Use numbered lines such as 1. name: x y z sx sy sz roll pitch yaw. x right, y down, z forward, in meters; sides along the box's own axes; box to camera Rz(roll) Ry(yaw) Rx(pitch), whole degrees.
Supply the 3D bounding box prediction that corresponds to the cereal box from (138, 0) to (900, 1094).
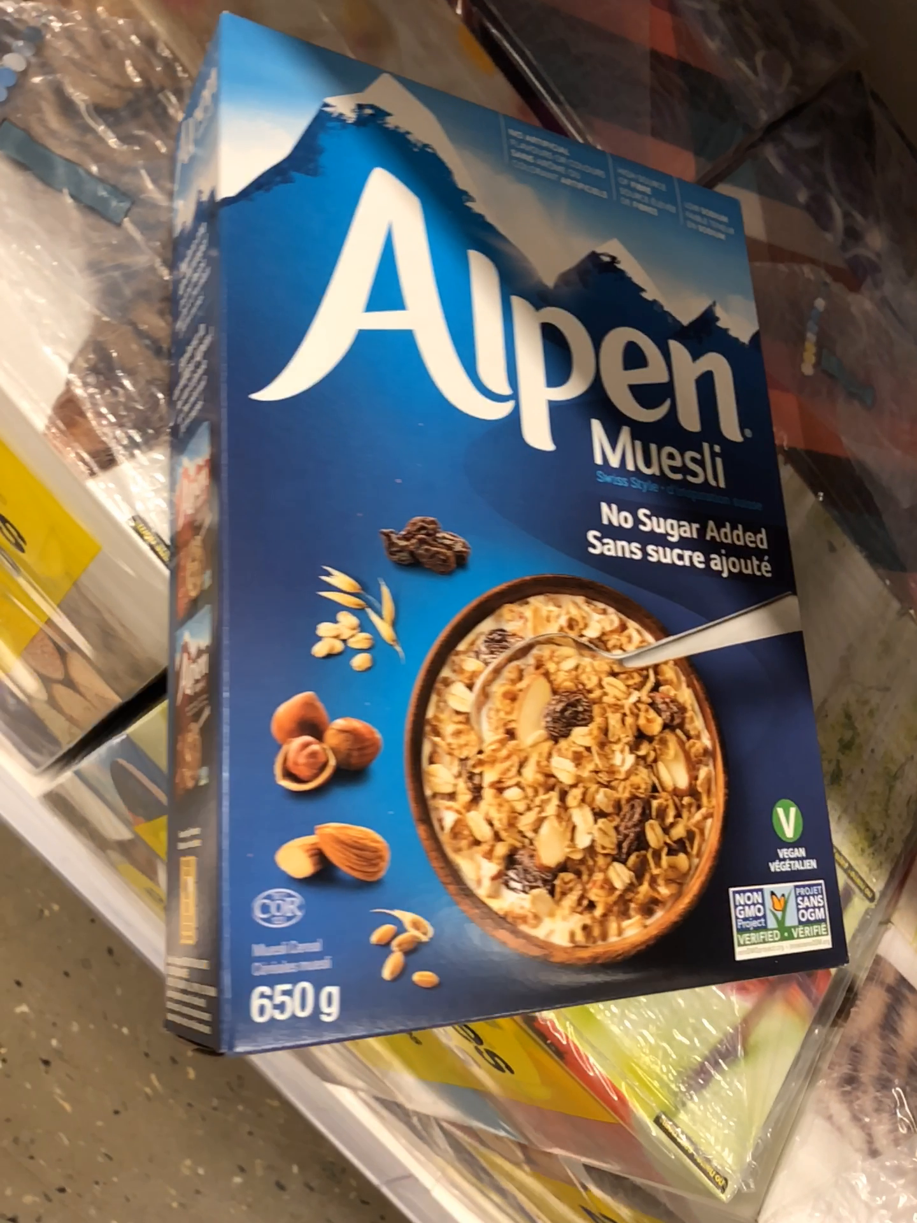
1. cereal box: 0.016 -0.033 0.283 0.191 0.050 0.270 4 74 -30
